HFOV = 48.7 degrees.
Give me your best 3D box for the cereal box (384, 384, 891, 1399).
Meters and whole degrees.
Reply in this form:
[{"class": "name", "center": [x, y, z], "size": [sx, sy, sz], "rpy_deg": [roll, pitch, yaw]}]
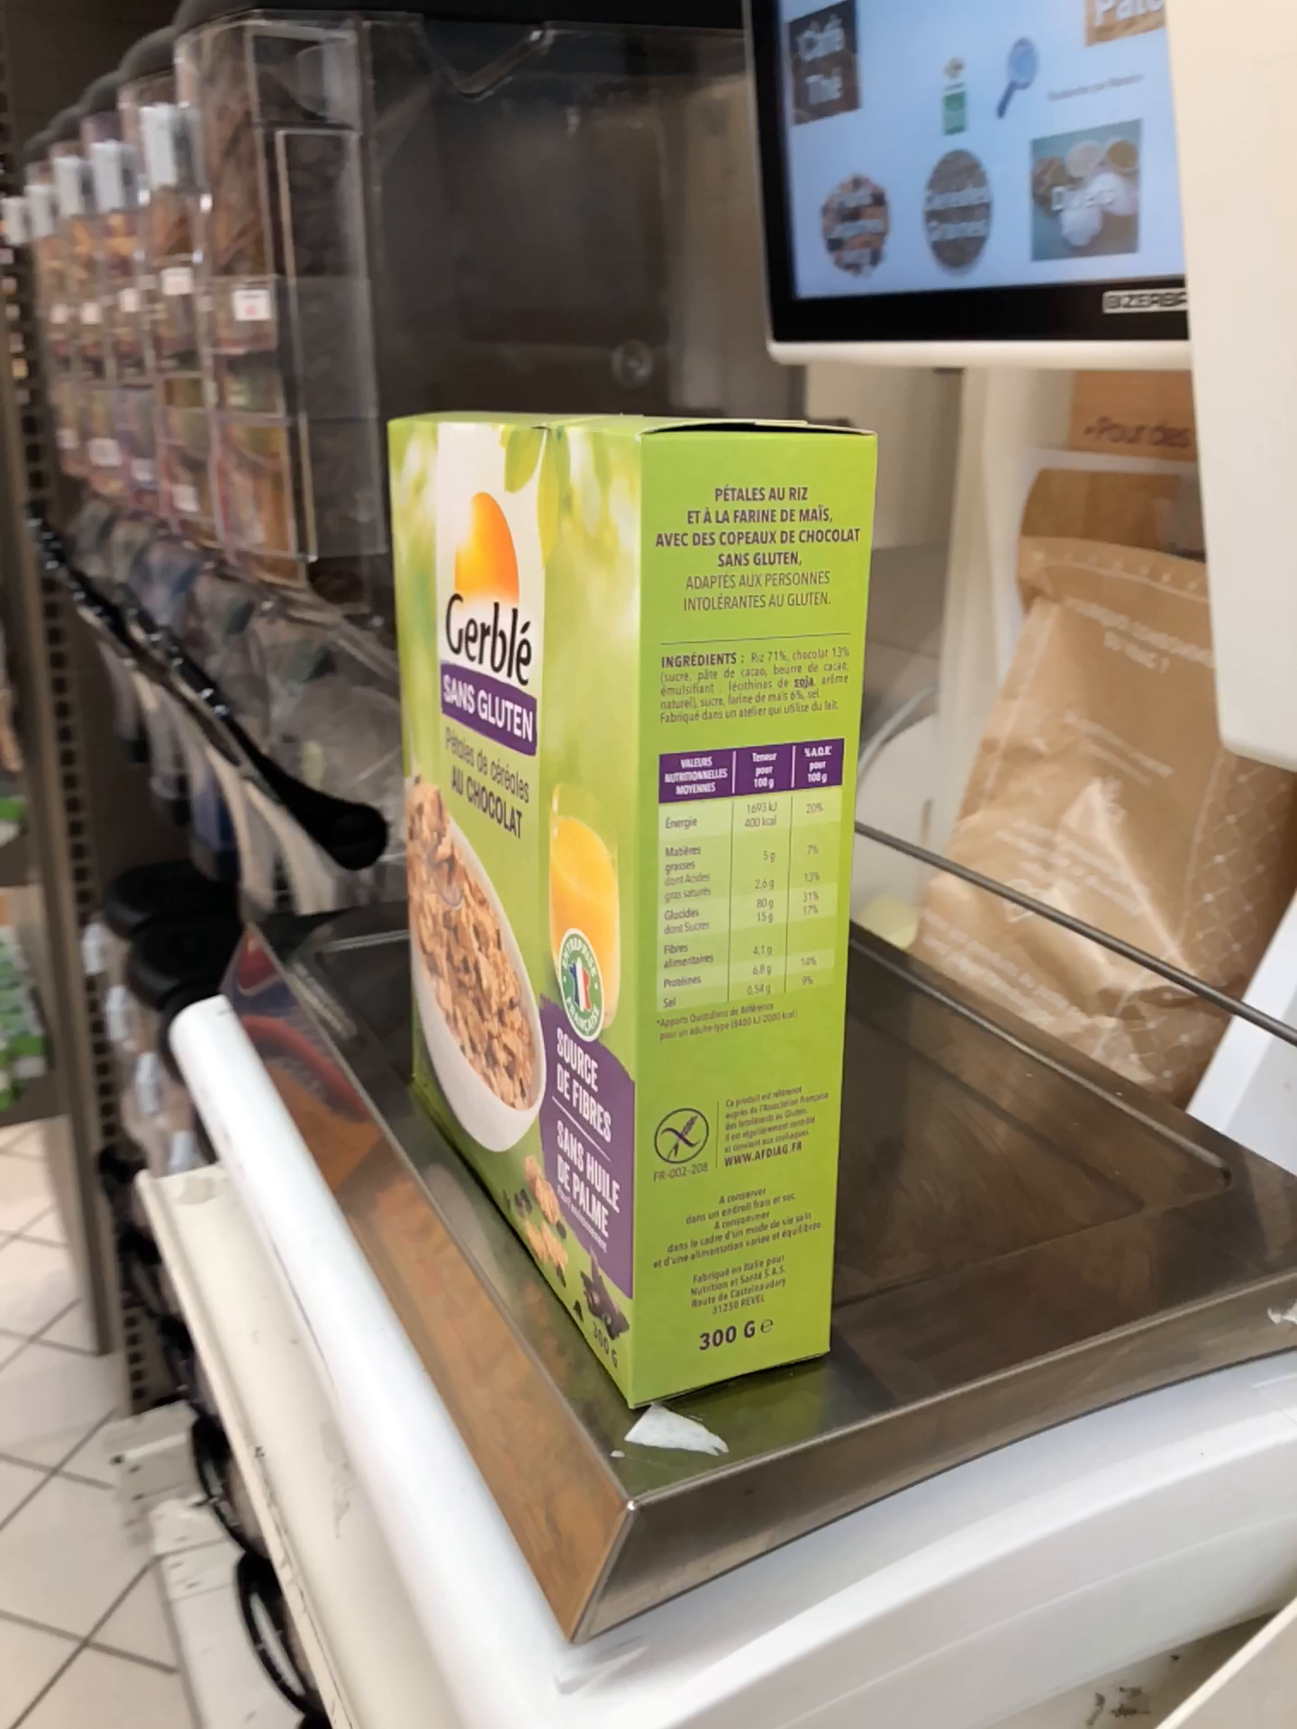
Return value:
[{"class": "cereal box", "center": [-0.016, -0.013, 0.397], "size": [0.060, 0.219, 0.200], "rpy_deg": [-6, 17, -21]}]
